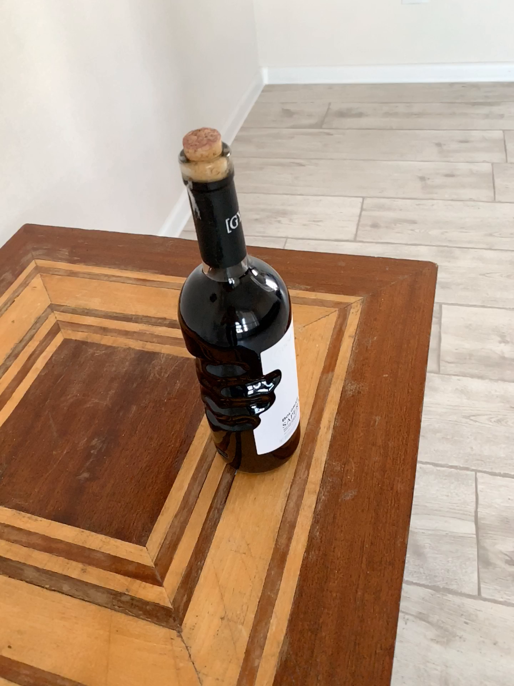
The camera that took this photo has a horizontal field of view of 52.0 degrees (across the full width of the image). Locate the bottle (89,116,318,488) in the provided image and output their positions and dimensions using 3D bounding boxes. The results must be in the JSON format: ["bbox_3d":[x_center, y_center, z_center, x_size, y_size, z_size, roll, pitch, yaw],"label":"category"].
[{"bbox_3d":[-0.015,-0.010,0.384,0.090,0.269,0.090,-5,46,5],"label":"bottle"}]
